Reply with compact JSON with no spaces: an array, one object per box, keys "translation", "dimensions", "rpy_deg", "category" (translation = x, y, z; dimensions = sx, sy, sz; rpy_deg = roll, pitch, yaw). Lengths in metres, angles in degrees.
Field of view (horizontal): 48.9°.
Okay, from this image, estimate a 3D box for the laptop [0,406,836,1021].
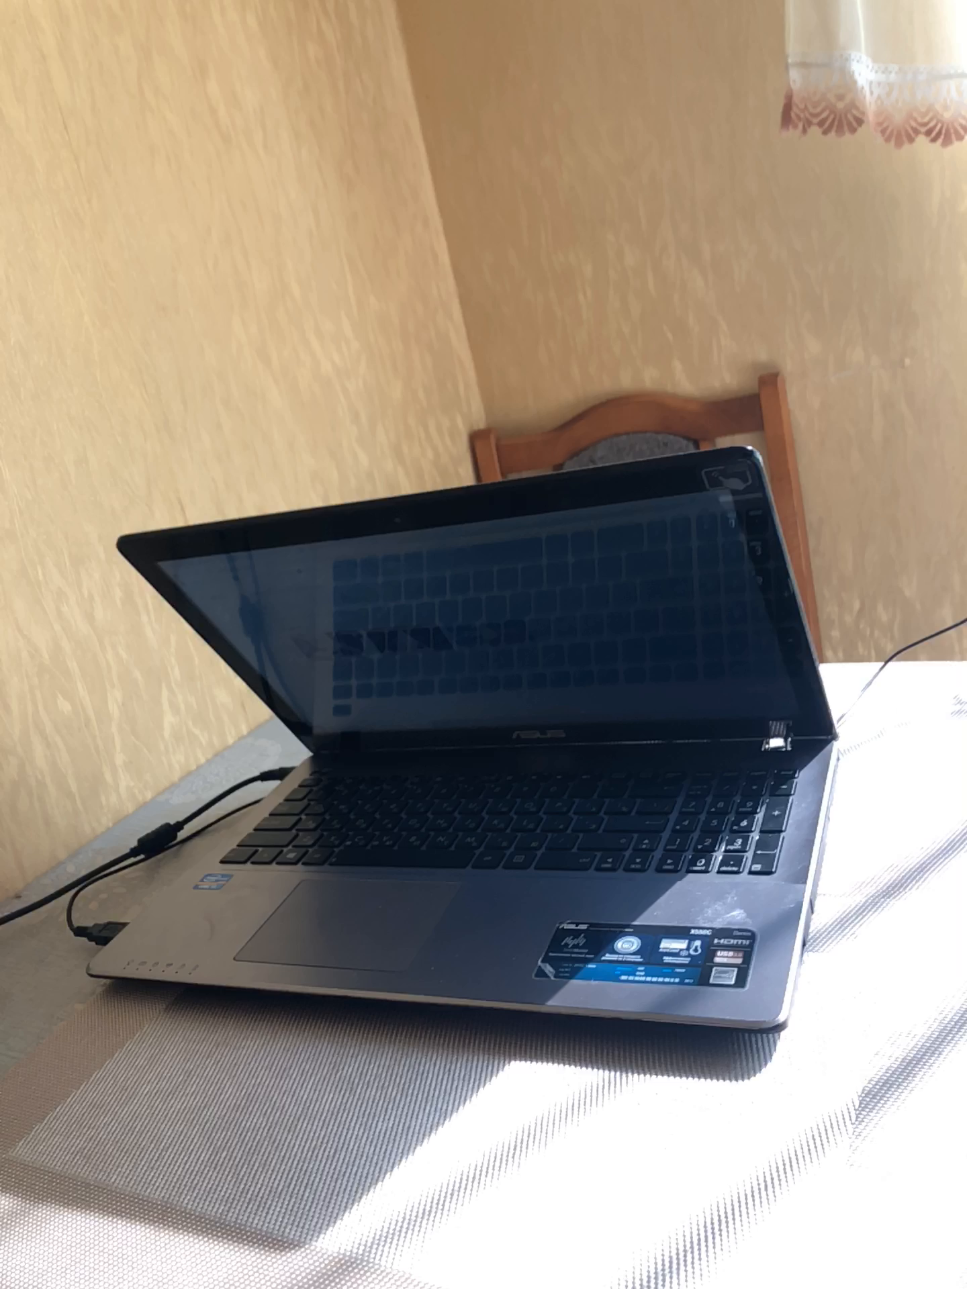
[{"translation":[-0.026,0.024,0.573],"dimensions":[0.369,0.196,0.243],"rpy_deg":[-5,20,25],"category":"laptop"}]
